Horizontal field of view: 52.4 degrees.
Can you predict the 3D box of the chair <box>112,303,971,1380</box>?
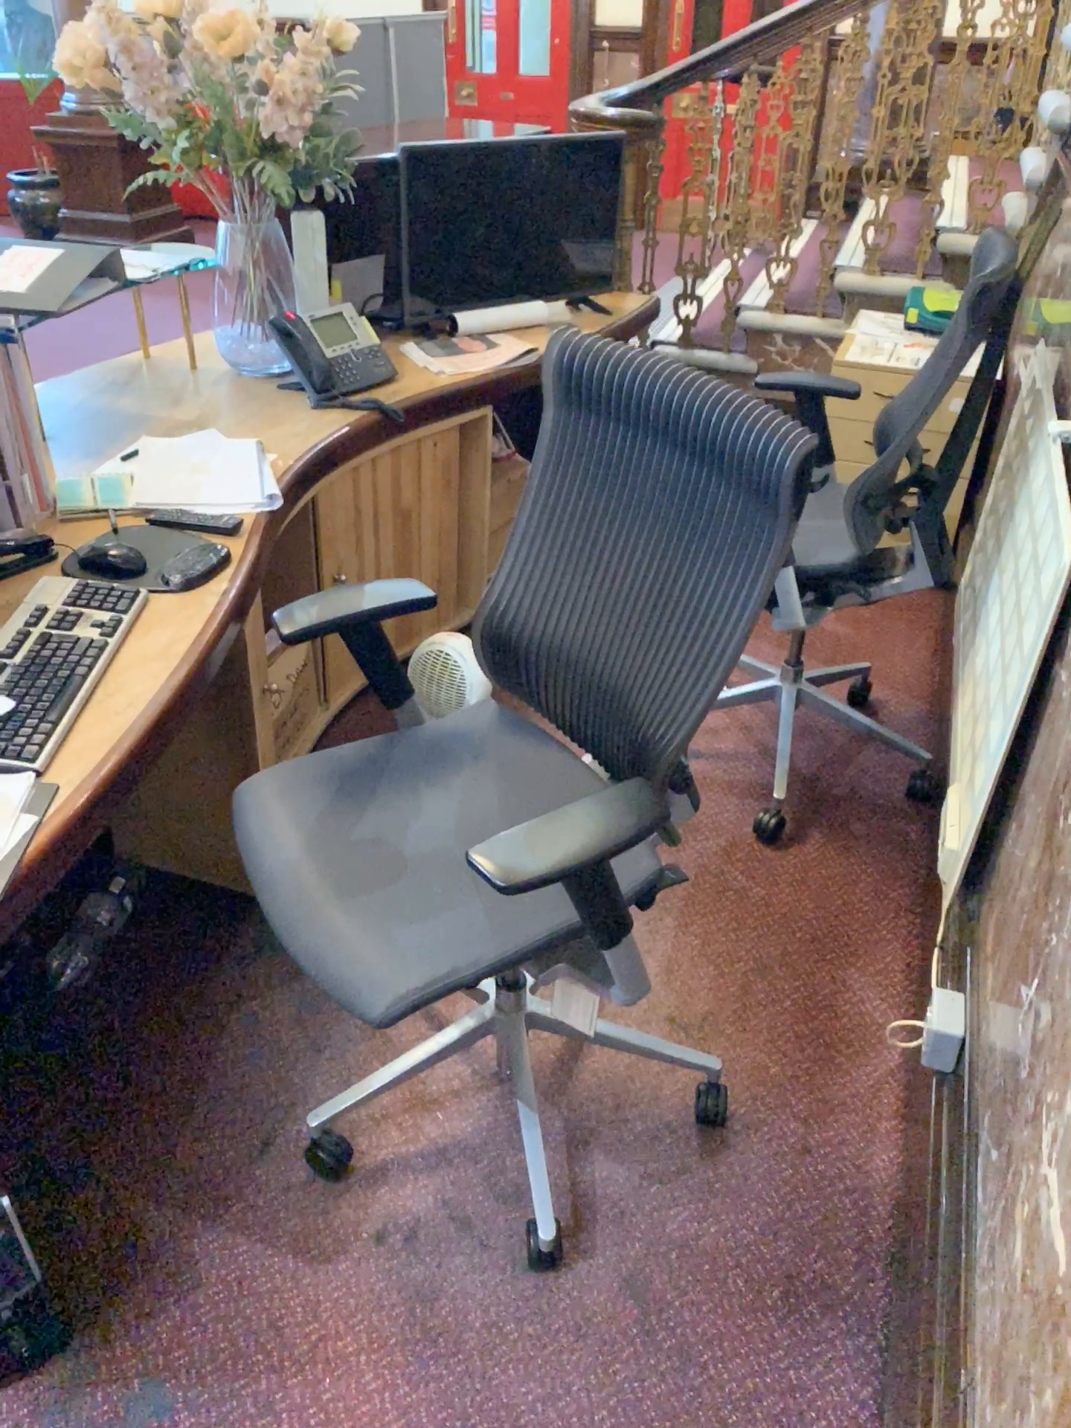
[{"bbox_3d":[-0.045,0.127,1.525,0.692,1.129,0.726,-17,37,-25],"label":"chair"}]
